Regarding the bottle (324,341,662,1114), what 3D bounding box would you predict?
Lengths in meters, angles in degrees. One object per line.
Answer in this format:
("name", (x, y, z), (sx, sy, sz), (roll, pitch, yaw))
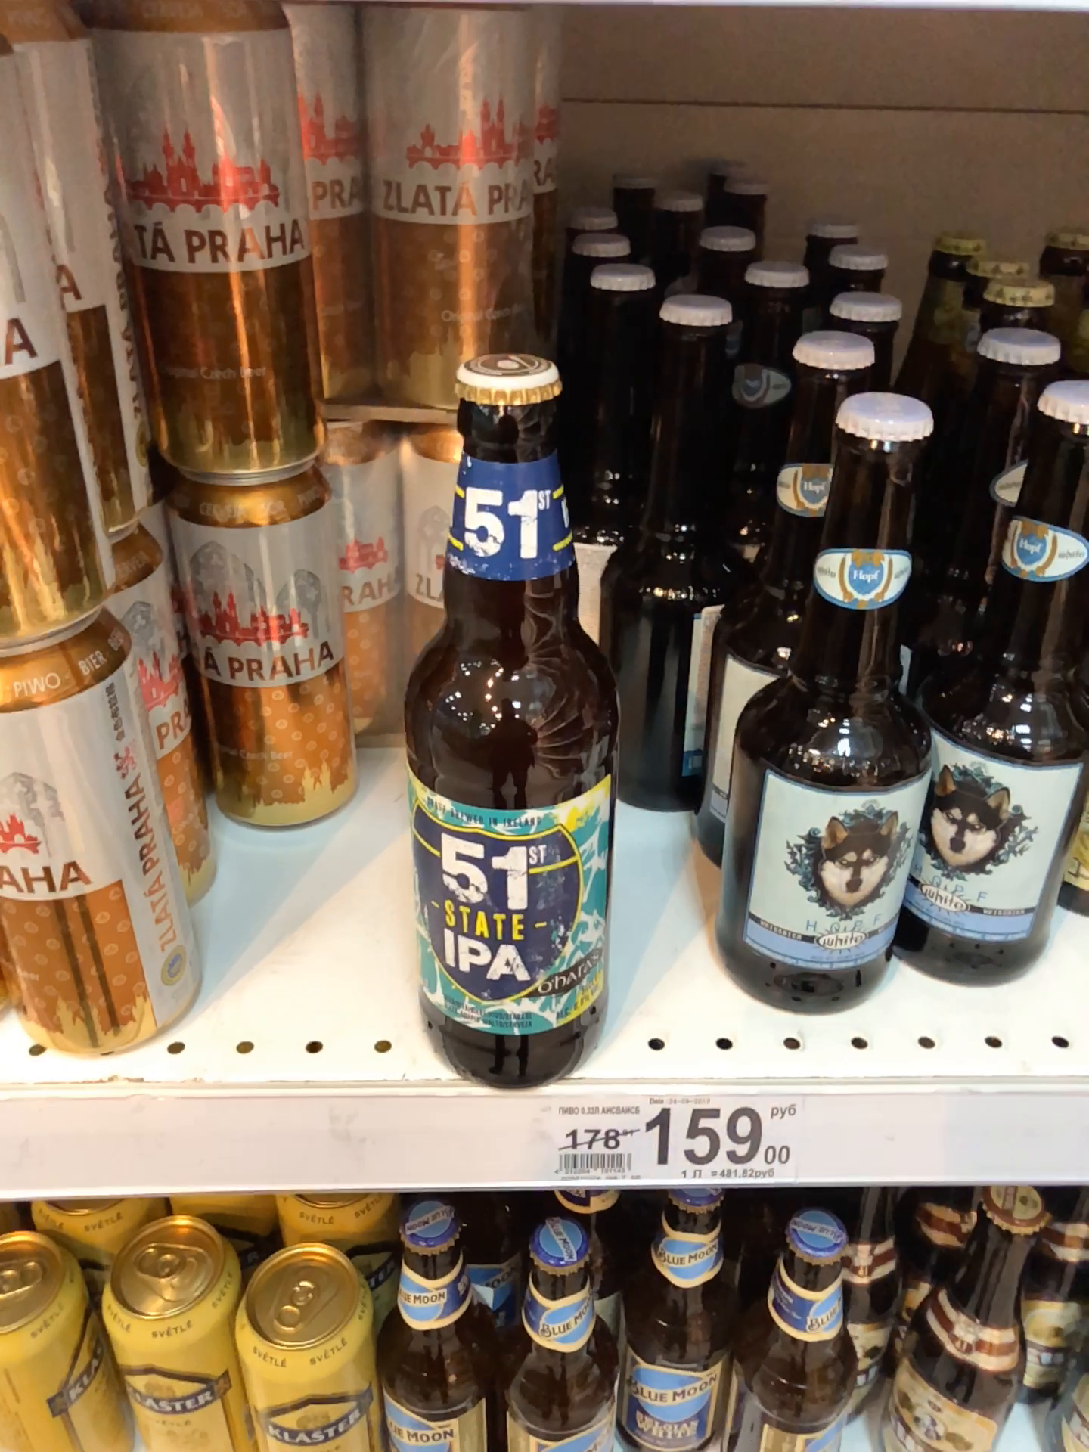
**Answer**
("bottle", (-0.012, 0.010, 0.382), (0.080, 0.239, 0.070), (5, 32, 5))
